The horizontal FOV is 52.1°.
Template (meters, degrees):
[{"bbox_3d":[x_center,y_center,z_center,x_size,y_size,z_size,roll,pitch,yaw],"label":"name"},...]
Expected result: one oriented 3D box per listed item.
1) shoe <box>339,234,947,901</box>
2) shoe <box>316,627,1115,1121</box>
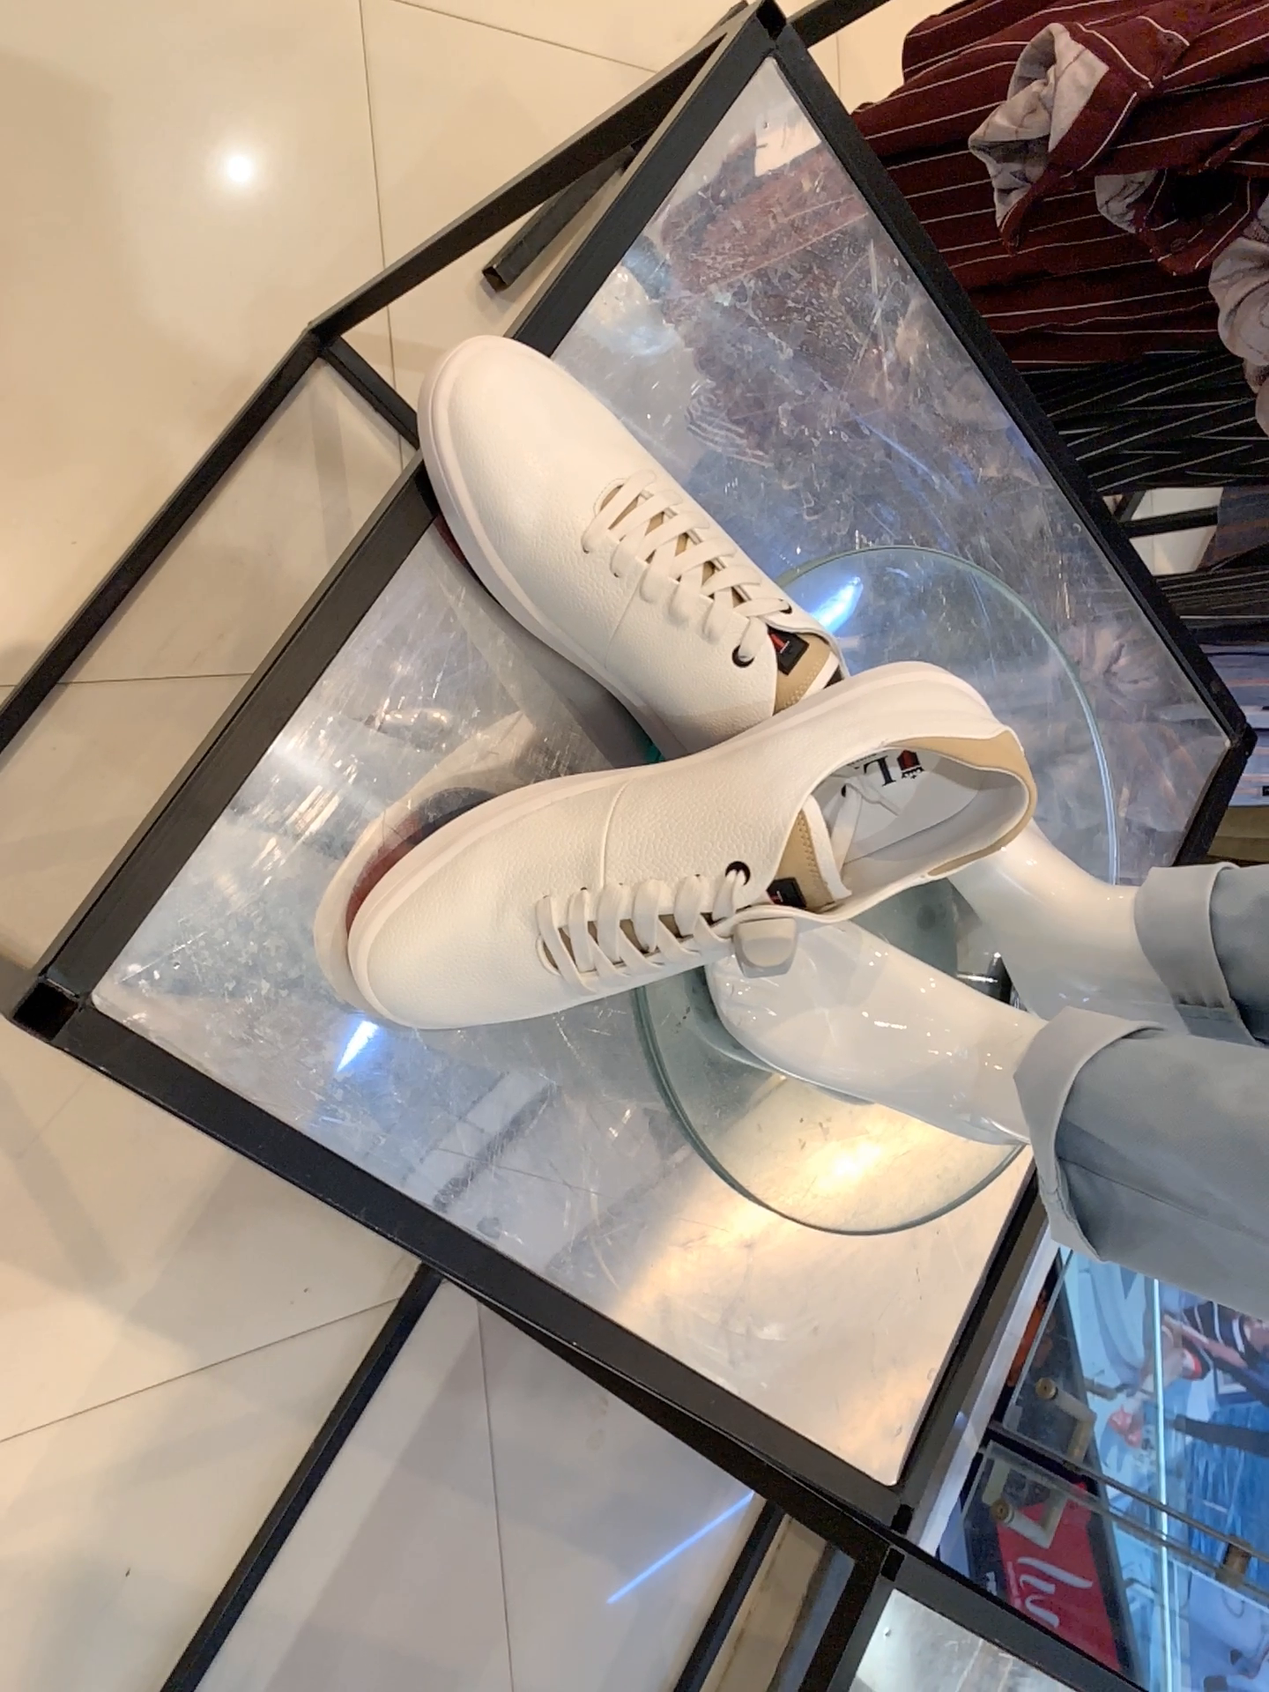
[{"bbox_3d":[0.015,-0.111,0.605,0.291,0.100,0.100,49,66,-27],"label":"shoe"},{"bbox_3d":[0.037,0.003,0.525,0.301,0.080,0.100,-15,120,-13],"label":"shoe"}]
